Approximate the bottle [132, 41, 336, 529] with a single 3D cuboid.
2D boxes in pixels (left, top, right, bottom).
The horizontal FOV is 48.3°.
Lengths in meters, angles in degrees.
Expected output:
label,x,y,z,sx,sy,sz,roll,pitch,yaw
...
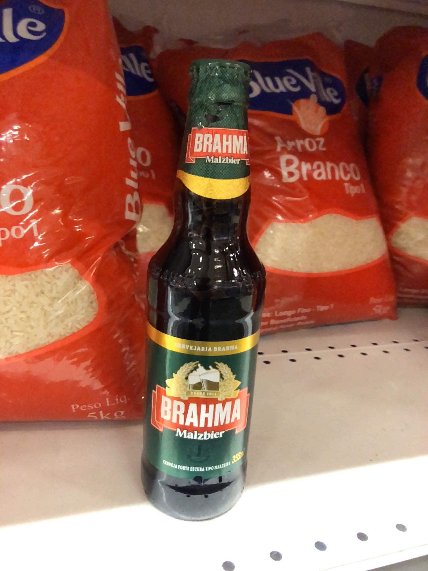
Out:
label,x,y,z,sx,sy,sz,roll,pitch,yaw
bottle,-0.002,0.008,0.246,0.070,0.229,0.060,0,20,-15
